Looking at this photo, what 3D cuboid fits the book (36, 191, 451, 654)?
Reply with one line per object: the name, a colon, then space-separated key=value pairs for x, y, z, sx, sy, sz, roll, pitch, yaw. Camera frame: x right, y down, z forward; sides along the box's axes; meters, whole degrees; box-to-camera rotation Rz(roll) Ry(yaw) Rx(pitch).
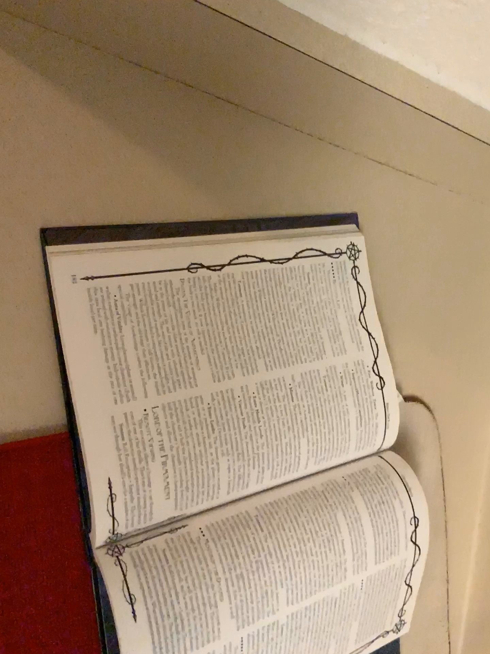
book: x=0.025 y=0.130 z=0.446 sx=0.290 sy=0.060 sz=0.450 roll=-11 pitch=98 yaw=-28
